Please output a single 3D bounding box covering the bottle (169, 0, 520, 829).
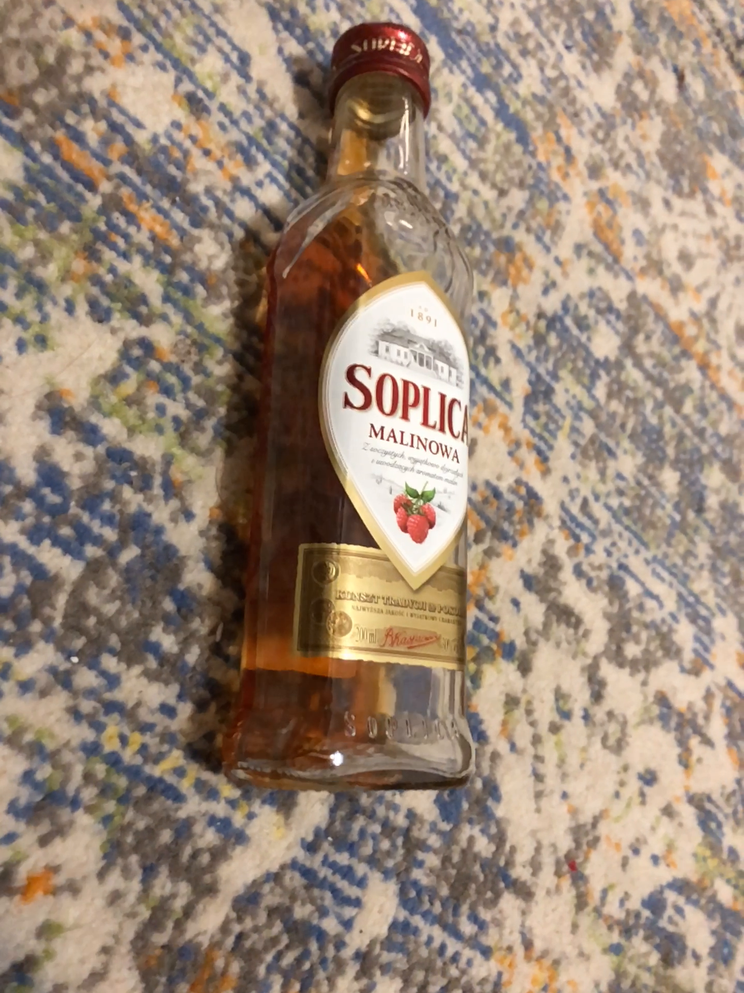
[{"bbox_3d":[-0.001,-0.037,0.200,0.060,0.040,0.210,14,70,-36],"label":"bottle"}]
